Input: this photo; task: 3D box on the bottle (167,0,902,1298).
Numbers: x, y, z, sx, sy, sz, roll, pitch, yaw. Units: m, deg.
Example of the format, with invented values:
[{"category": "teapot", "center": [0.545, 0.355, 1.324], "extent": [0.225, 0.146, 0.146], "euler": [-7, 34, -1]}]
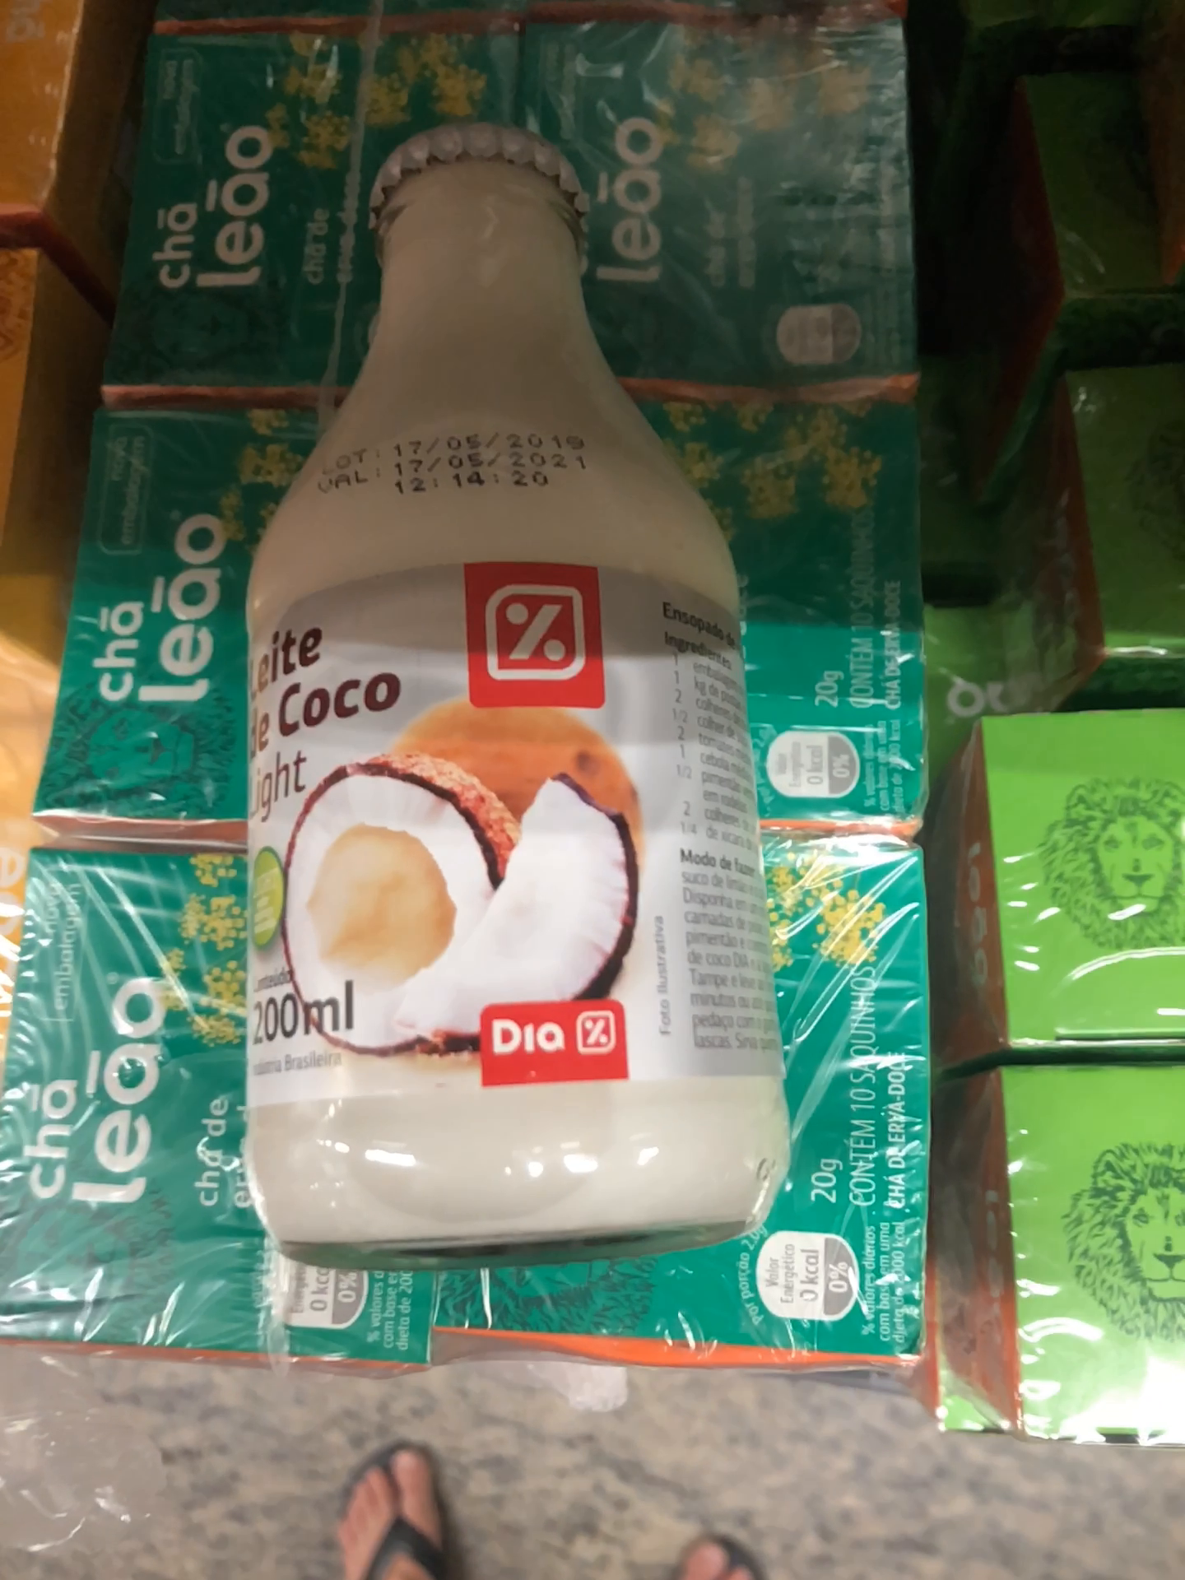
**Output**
[{"category": "bottle", "center": [-0.006, -0.024, 0.171], "extent": [0.070, 0.050, 0.160], "euler": [-2, 75, 3]}]
